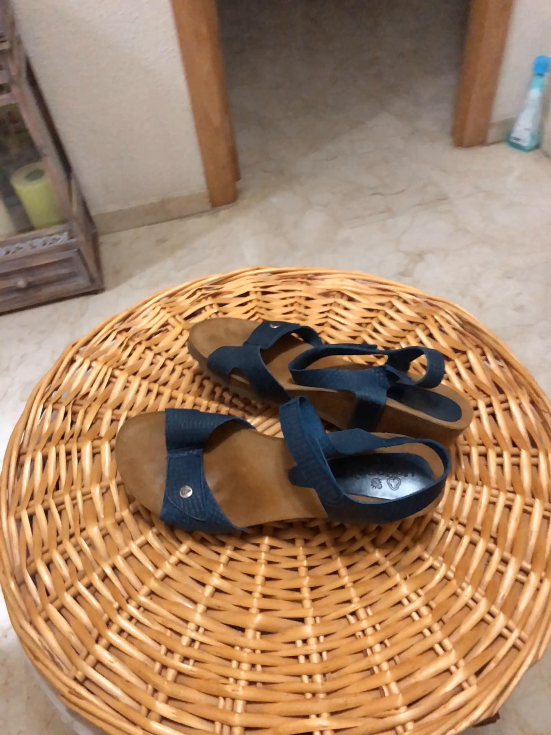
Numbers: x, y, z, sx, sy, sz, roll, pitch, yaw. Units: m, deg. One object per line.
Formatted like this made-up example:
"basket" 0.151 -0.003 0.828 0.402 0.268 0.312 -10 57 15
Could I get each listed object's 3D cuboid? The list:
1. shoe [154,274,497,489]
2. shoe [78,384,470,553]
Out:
"shoe" 0.039 0.005 0.547 0.280 0.060 0.090 19 62 20
"shoe" 0.001 0.076 0.478 0.280 0.060 0.090 4 58 9
